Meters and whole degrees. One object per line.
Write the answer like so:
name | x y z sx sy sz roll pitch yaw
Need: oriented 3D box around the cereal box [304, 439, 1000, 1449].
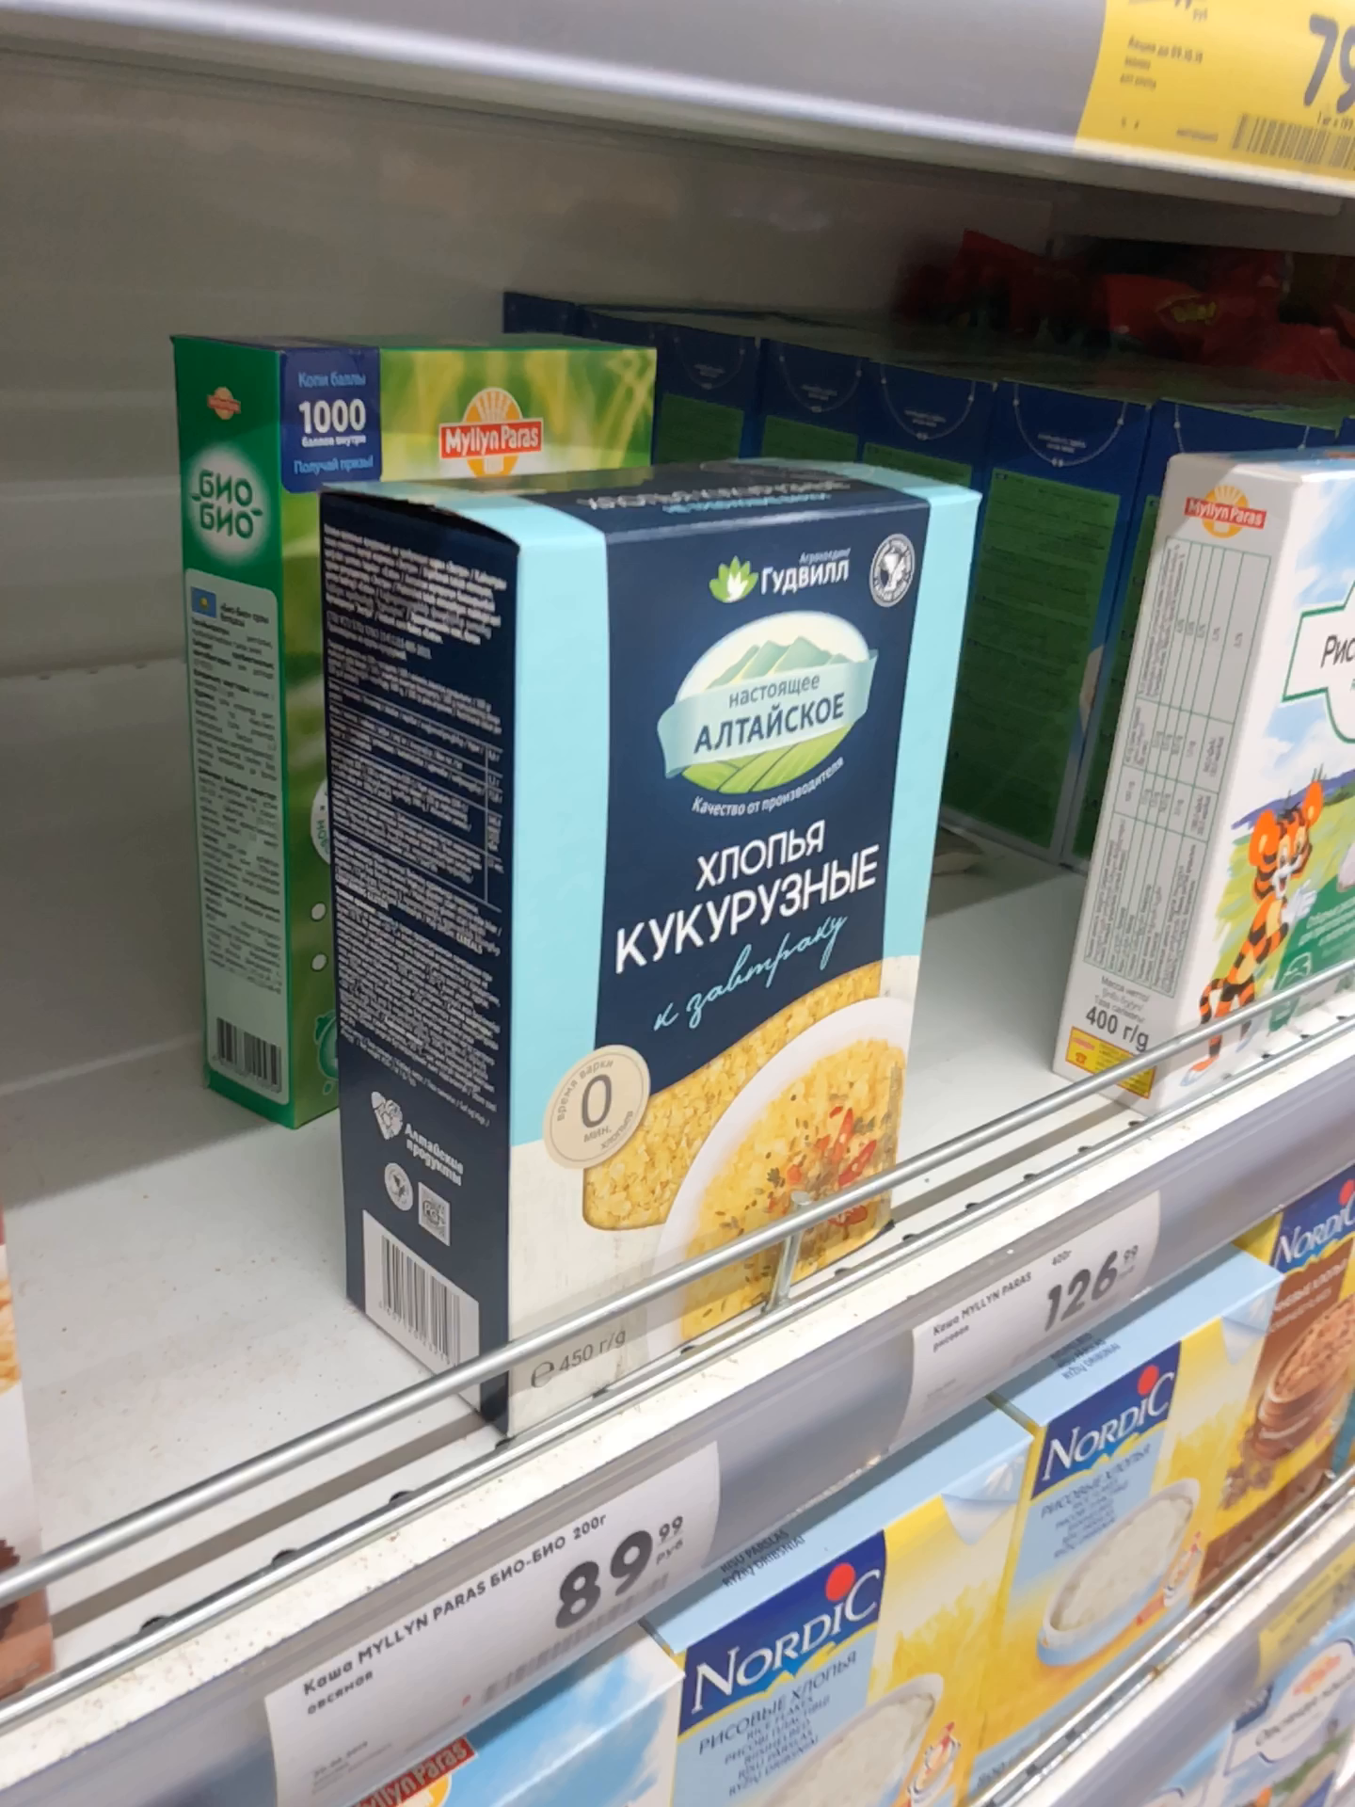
cereal box | -0.007 0.001 0.333 0.130 0.189 0.060 -17 31 -39
